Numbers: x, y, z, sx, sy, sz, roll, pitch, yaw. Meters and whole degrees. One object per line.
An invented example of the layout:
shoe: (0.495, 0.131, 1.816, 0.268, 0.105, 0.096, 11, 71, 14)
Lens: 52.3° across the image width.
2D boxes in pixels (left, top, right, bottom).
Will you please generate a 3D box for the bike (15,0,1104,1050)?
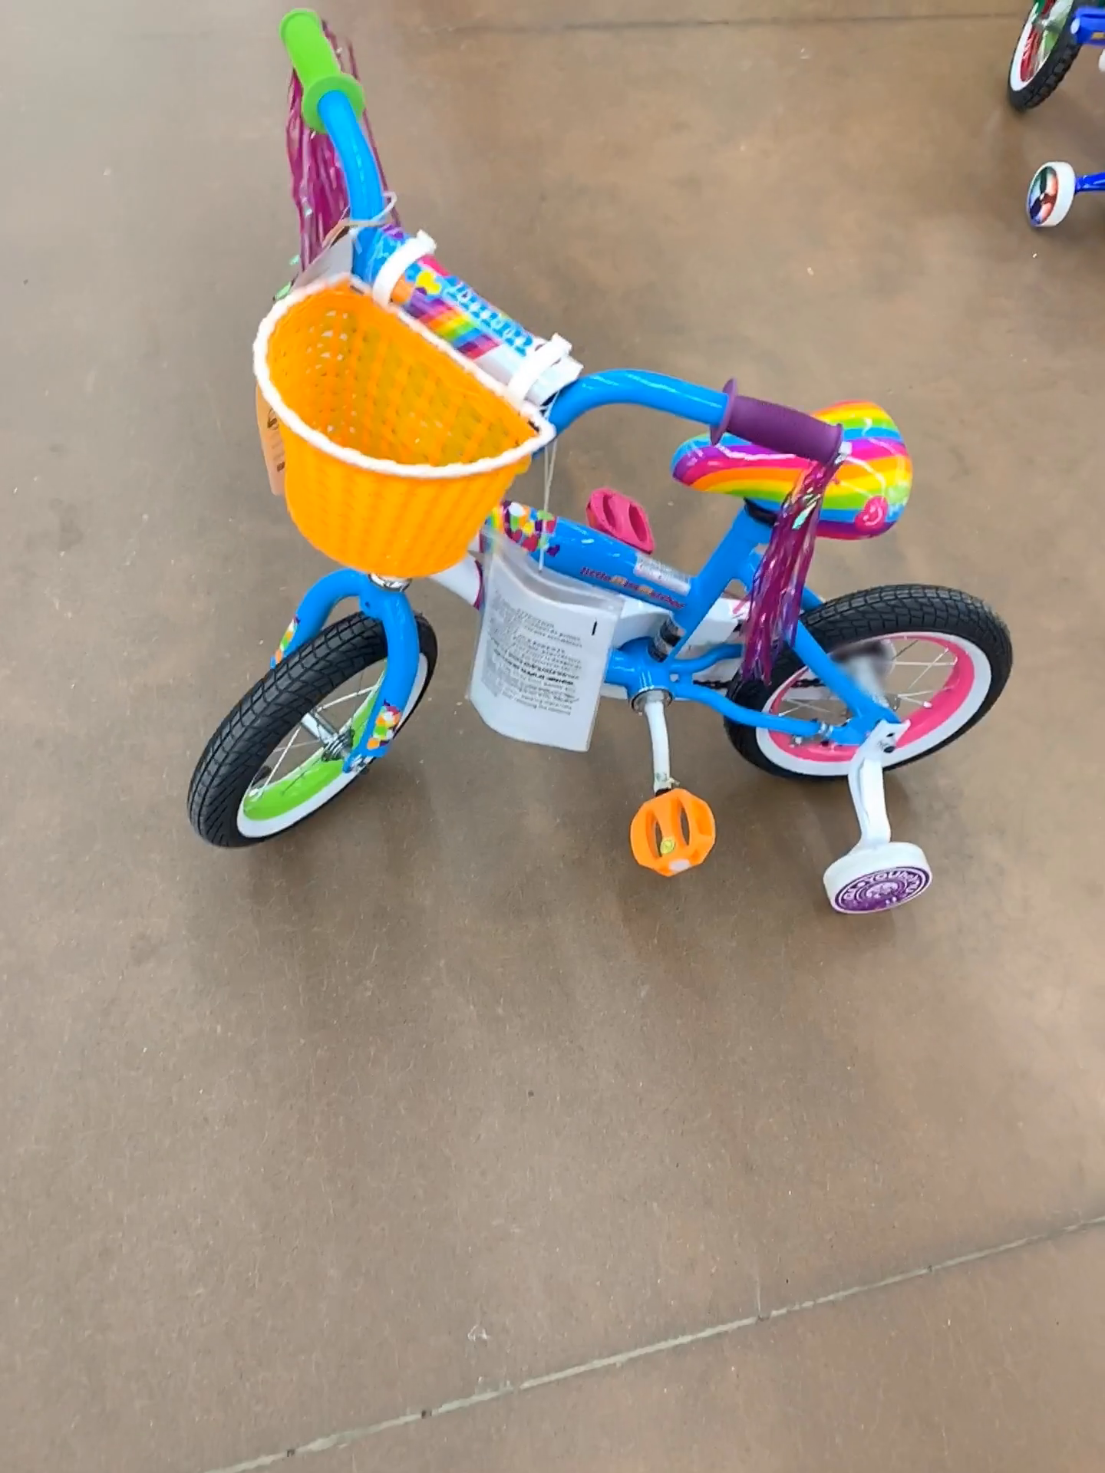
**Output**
bike: (0.080, -0.192, 1.000, 0.816, 0.664, 0.554, -10, 55, -16)
